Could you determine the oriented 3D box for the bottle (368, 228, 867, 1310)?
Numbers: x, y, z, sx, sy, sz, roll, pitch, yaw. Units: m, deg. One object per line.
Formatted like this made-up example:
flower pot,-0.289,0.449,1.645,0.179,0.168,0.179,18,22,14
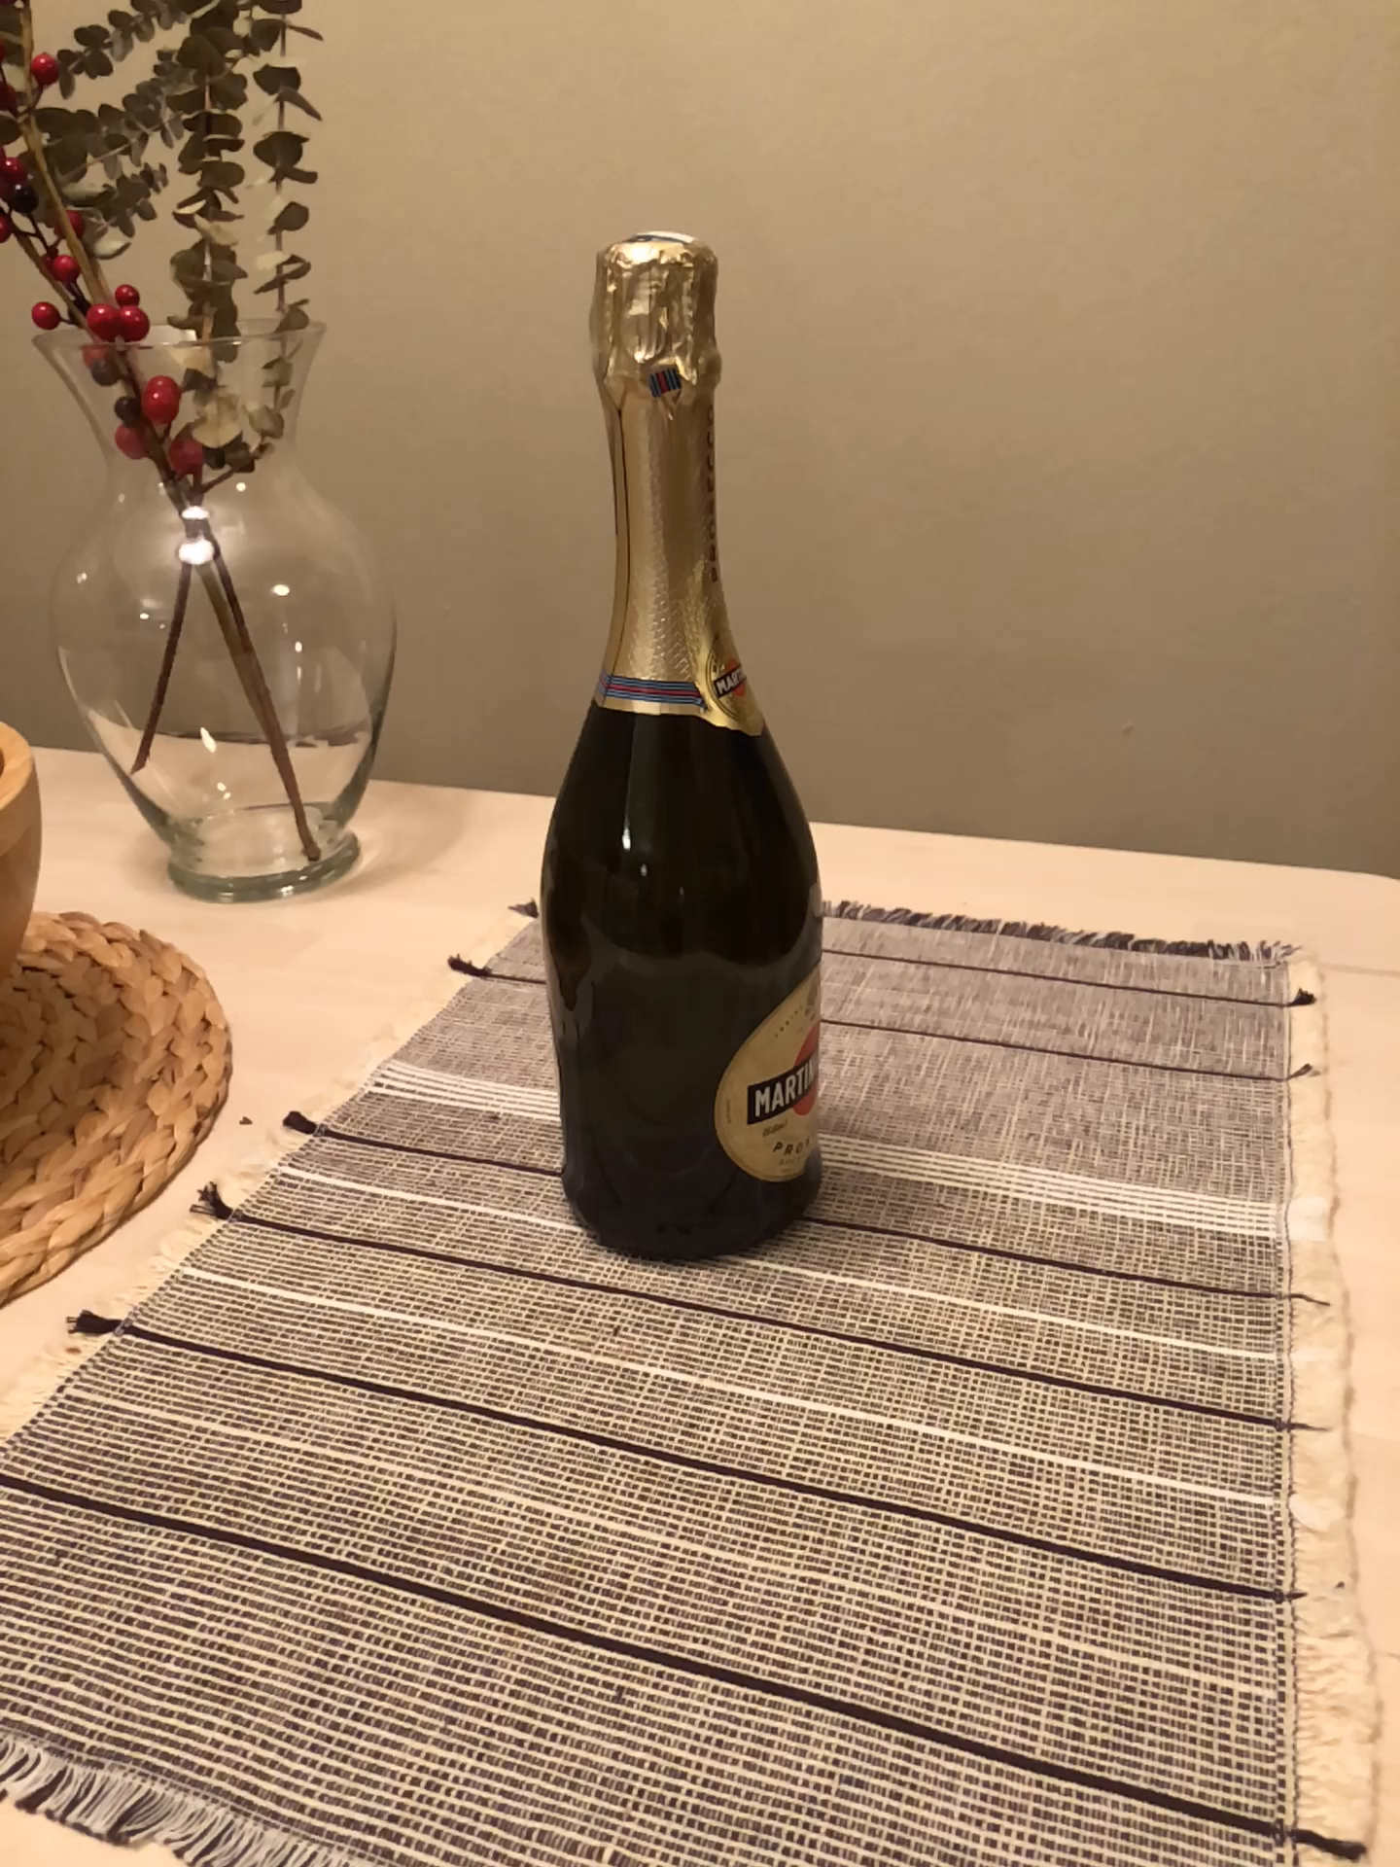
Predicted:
bottle,-0.014,-0.050,0.485,0.100,0.308,0.101,-2,24,1
